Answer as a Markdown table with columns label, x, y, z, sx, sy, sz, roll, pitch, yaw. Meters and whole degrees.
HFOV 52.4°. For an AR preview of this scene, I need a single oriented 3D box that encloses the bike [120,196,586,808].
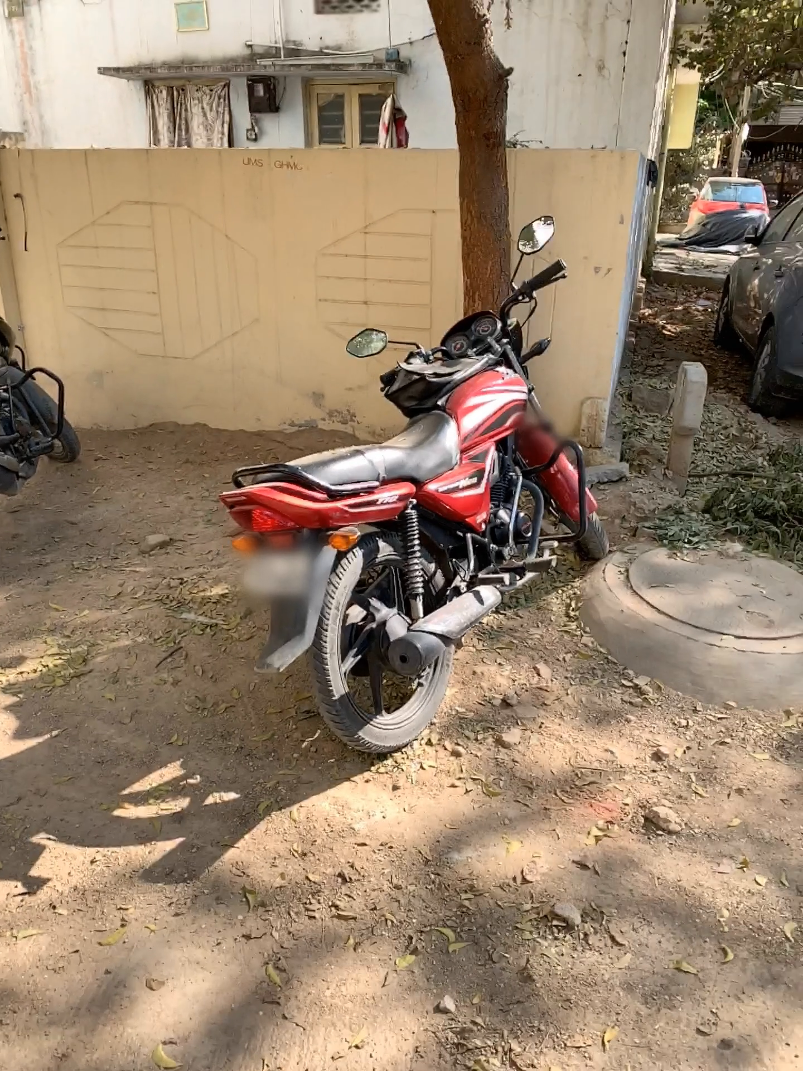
| label | x | y | z | sx | sy | sz | roll | pitch | yaw |
| --- | --- | --- | --- | --- | --- | --- | --- | --- | --- |
| bike | -0.016 | -0.335 | 2.642 | 0.776 | 1.179 | 1.648 | 11 | 30 | 23 |
